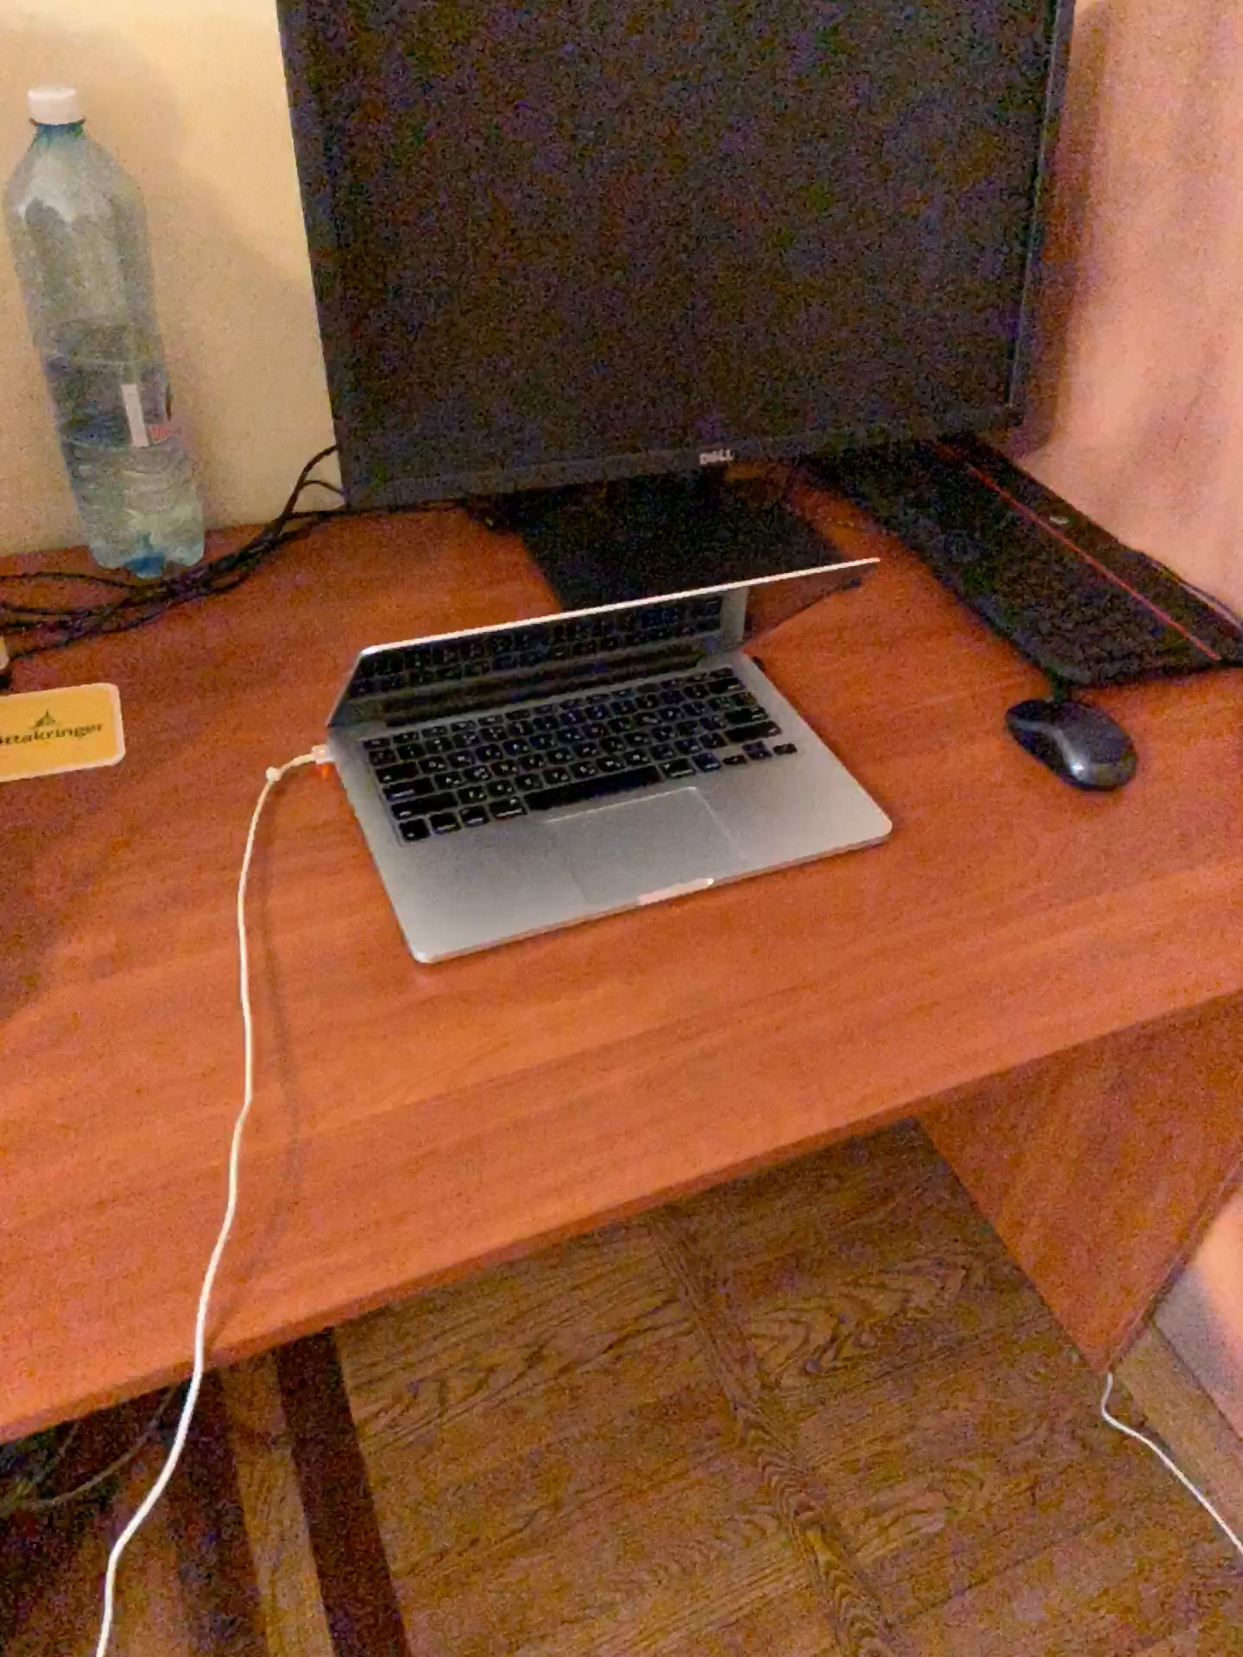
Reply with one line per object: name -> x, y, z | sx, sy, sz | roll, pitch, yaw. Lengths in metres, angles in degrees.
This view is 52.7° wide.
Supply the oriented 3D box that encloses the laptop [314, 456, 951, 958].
laptop -> -0.003, -0.088, 0.745 | 0.303, 0.150, 0.208 | -14, 44, -21
